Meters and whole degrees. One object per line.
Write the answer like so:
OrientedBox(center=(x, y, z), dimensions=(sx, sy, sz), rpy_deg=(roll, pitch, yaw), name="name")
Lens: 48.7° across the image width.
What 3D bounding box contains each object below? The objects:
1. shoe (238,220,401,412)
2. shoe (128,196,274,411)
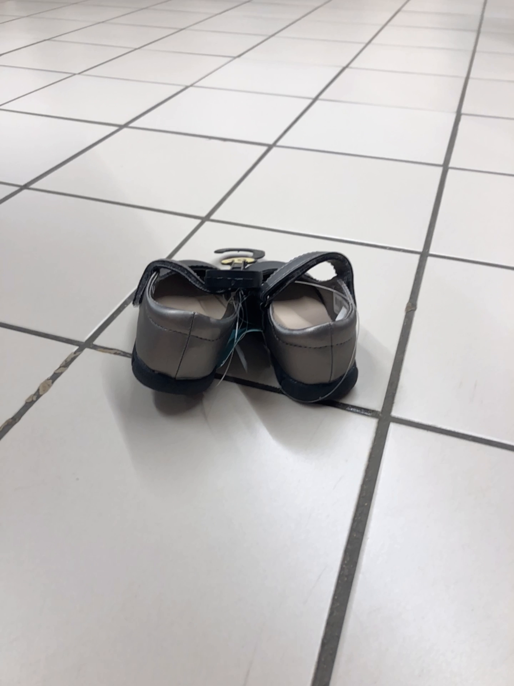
OrientedBox(center=(0.032, -0.024, 0.363), dimensions=(0.059, 0.047, 0.135), rpy_deg=(-9, 39, -12), name="shoe")
OrientedBox(center=(-0.035, -0.029, 0.355), dimensions=(0.067, 0.061, 0.130), rpy_deg=(9, 37, -11), name="shoe")
